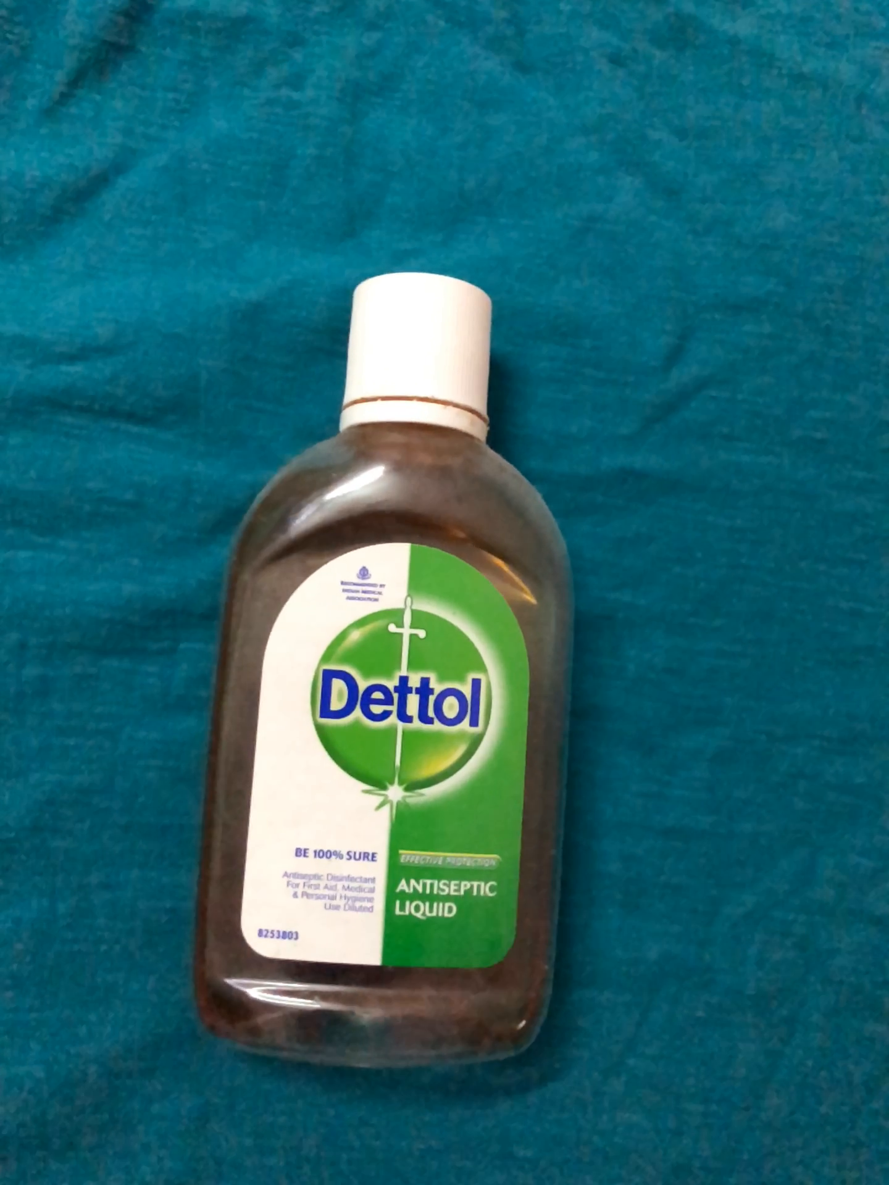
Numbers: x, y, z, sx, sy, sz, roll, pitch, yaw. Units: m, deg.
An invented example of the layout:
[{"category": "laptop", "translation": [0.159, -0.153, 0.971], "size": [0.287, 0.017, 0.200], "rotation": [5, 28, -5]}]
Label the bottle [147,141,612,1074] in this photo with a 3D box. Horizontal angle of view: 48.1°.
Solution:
[{"category": "bottle", "translation": [-0.012, 0.003, 0.217], "size": [0.080, 0.040, 0.180], "rotation": [5, 83, -9]}]
